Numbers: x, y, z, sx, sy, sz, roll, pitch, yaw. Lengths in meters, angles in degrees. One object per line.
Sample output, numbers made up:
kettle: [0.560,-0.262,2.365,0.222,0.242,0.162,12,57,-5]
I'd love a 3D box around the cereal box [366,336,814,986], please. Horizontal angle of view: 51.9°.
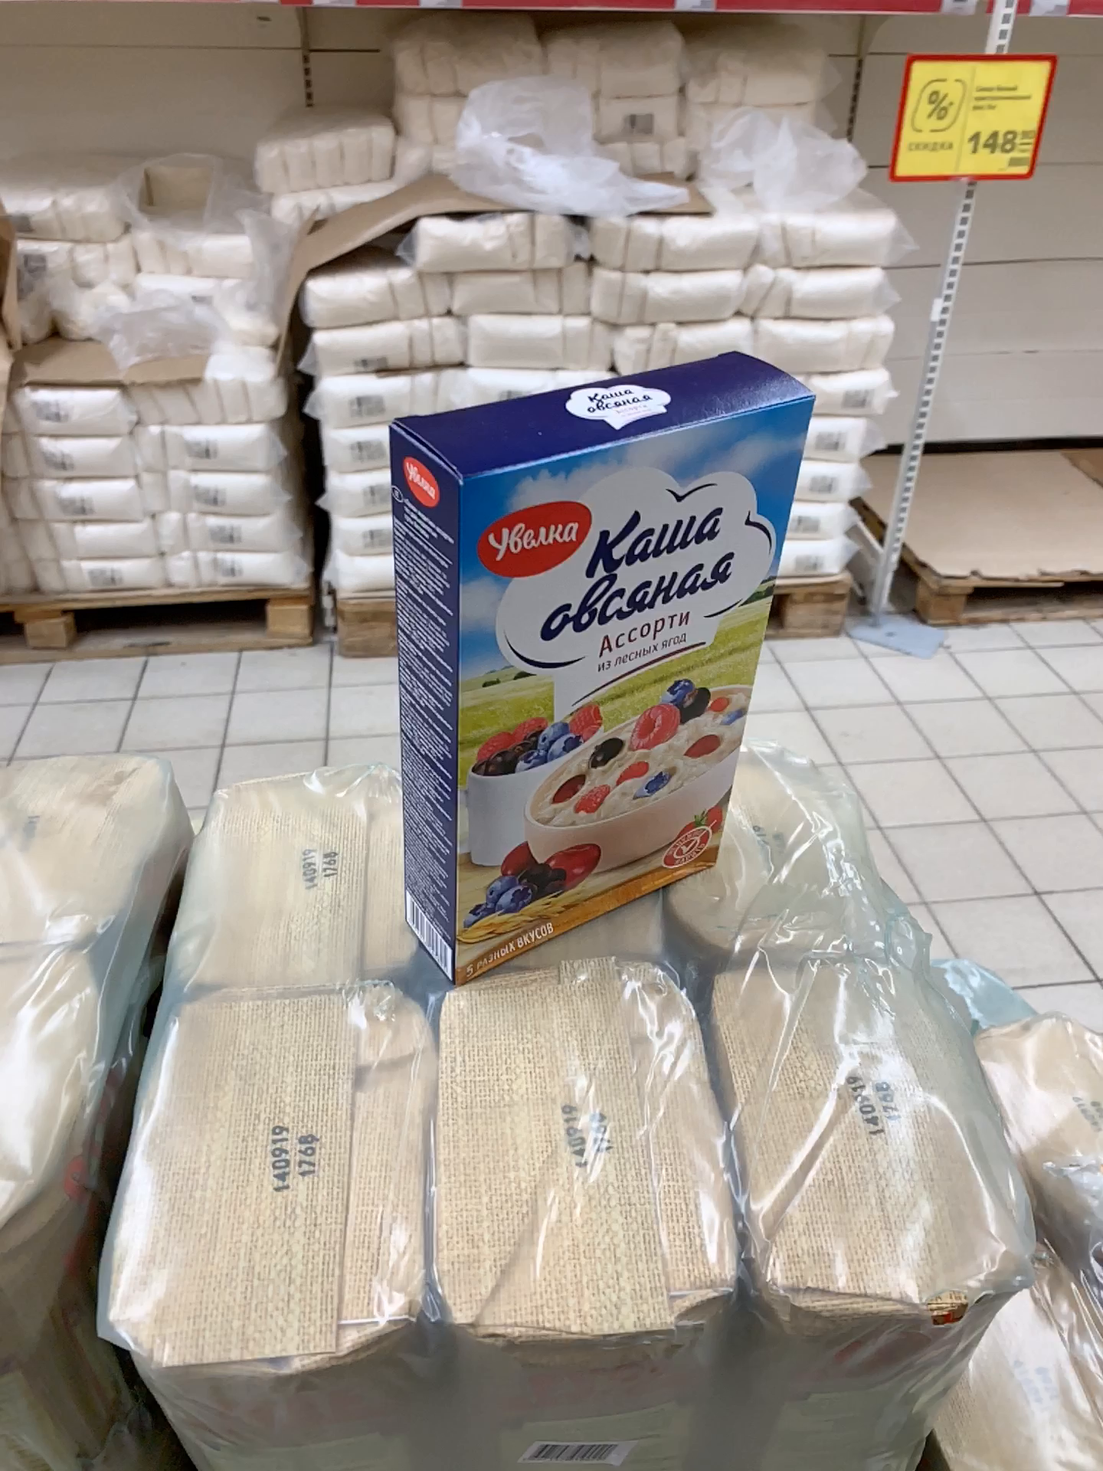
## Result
cereal box: [0.010,-0.023,0.397,0.130,0.198,0.050,-21,43,-29]
